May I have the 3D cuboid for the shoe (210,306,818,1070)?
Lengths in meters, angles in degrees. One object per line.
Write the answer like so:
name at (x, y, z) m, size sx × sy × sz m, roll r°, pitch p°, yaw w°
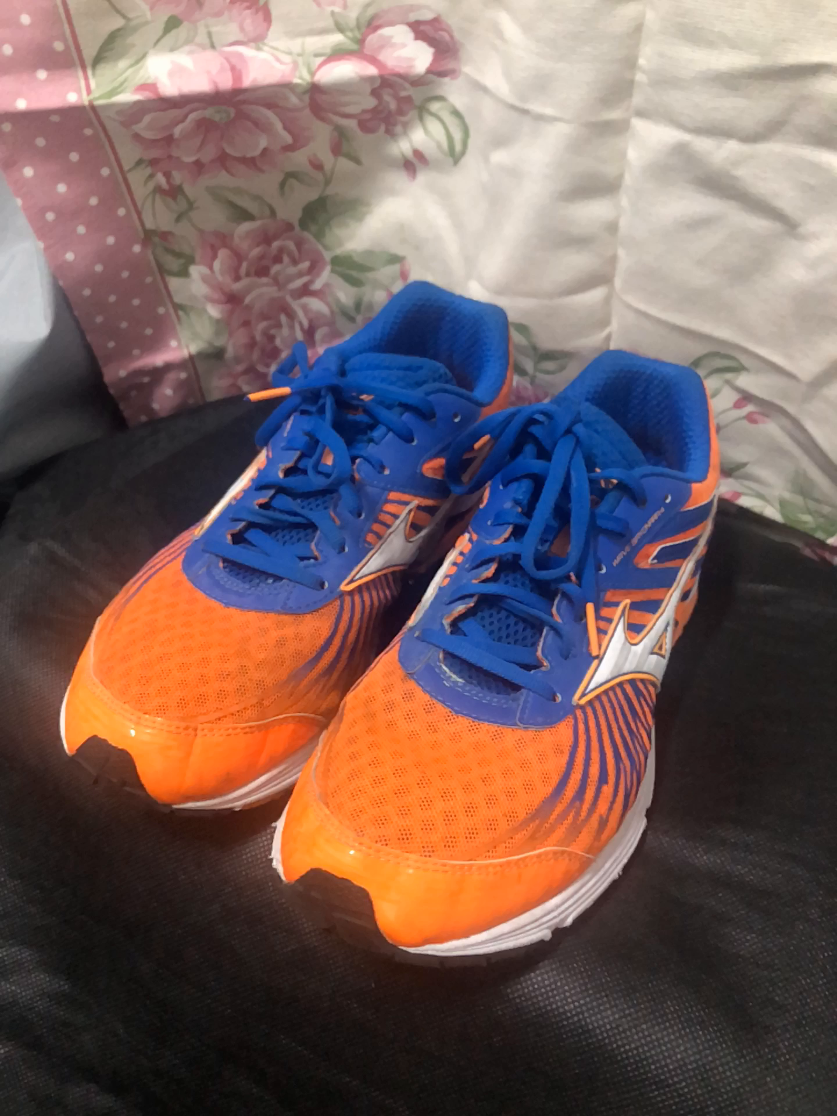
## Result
shoe at (0.044, 0.018, 0.312) m, size 0.110 × 0.109 × 0.222 m, roll 21°, pitch 40°, yaw 17°

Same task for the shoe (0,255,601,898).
shoe at (-0.028, -0.015, 0.349) m, size 0.110 × 0.109 × 0.222 m, roll 21°, pitch 40°, yaw 17°
